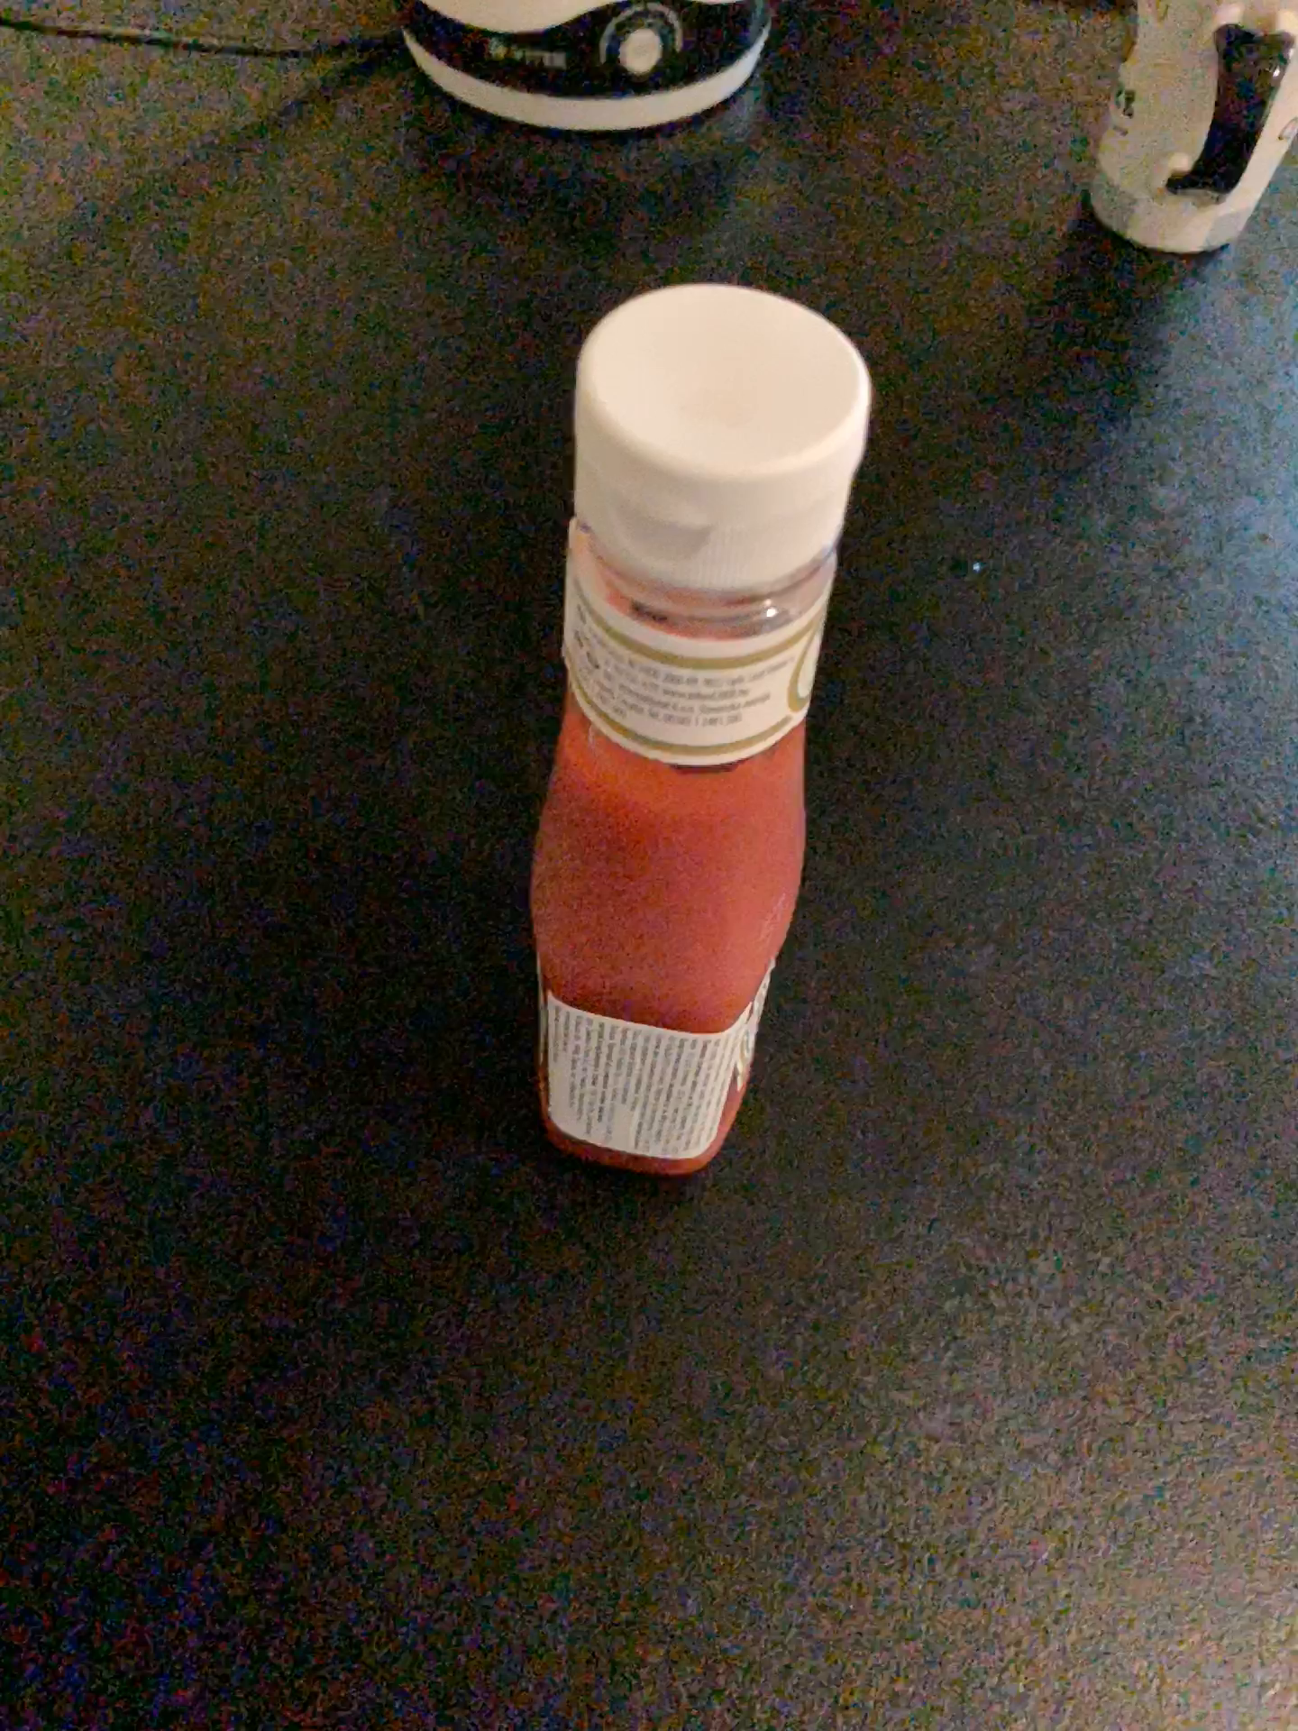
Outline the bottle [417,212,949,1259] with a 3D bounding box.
[{"bbox_3d":[0.002,0.001,0.230,0.050,0.189,0.070,9,58,2],"label":"bottle"}]
